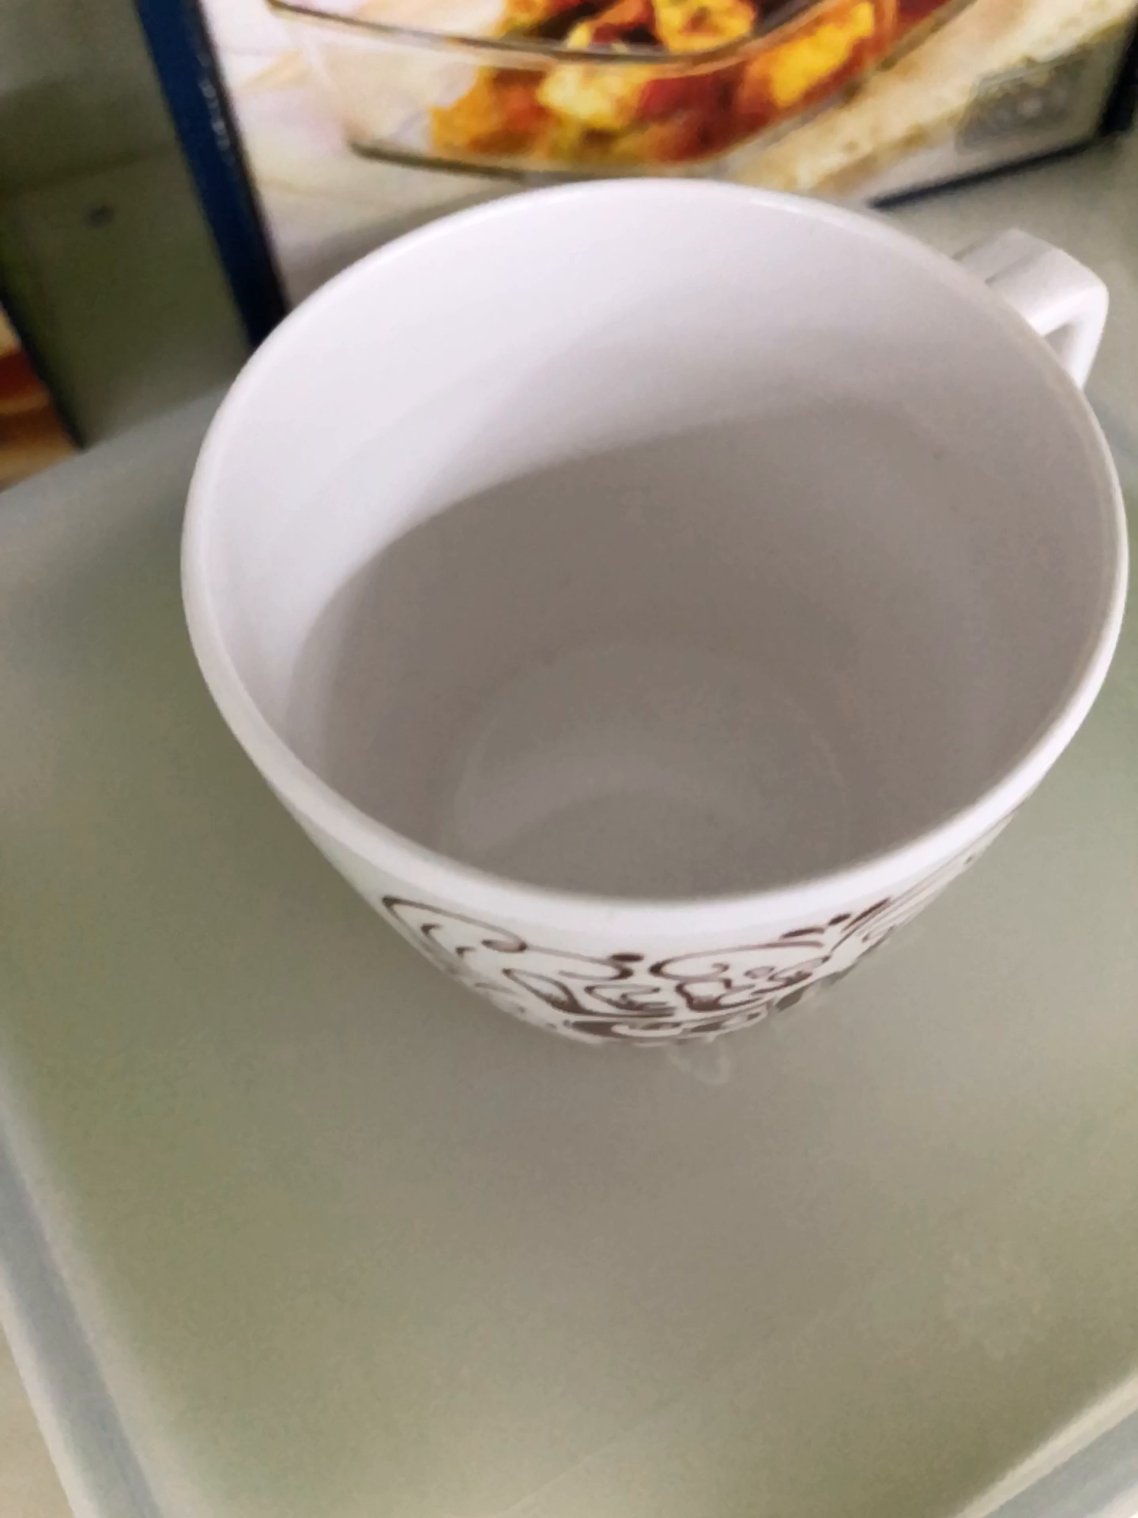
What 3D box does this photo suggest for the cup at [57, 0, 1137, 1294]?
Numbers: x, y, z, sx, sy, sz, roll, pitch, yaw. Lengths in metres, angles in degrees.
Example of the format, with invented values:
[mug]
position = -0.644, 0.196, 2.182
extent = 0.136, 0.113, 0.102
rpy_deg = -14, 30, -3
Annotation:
[cup]
position = 0.022, -0.012, 0.133
extent = 0.100, 0.070, 0.070
rpy_deg = -33, 65, -15
